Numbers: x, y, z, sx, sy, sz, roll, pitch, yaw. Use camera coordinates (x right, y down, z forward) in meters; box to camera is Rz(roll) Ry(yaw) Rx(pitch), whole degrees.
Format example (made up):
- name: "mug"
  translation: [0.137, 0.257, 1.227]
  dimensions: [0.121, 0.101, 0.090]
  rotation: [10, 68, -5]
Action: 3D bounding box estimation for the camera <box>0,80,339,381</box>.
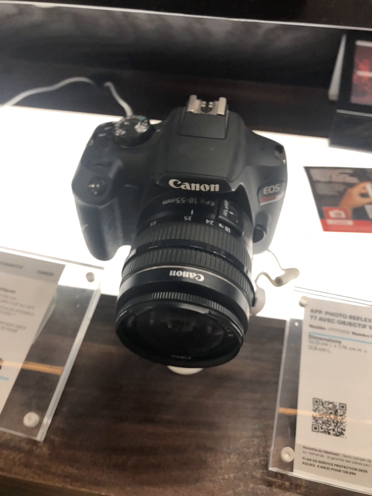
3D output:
- name: "camera"
  translation: [-0.005, -0.013, 0.223]
  dimensions: [0.128, 0.099, 0.112]
  rotation: [6, 44, 4]
